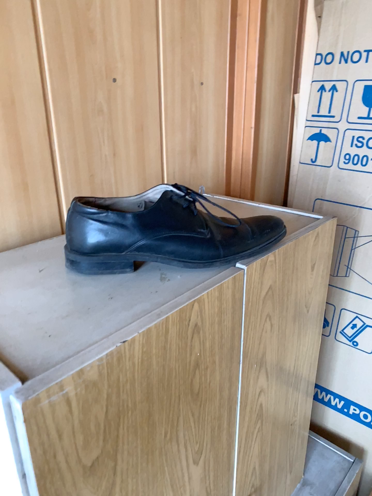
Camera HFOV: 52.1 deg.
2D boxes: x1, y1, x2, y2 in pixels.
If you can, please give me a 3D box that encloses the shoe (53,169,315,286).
[{"bbox_3d":[-0.007,-0.040,0.501,0.300,0.089,0.141,-6,22,-13],"label":"shoe"}]
